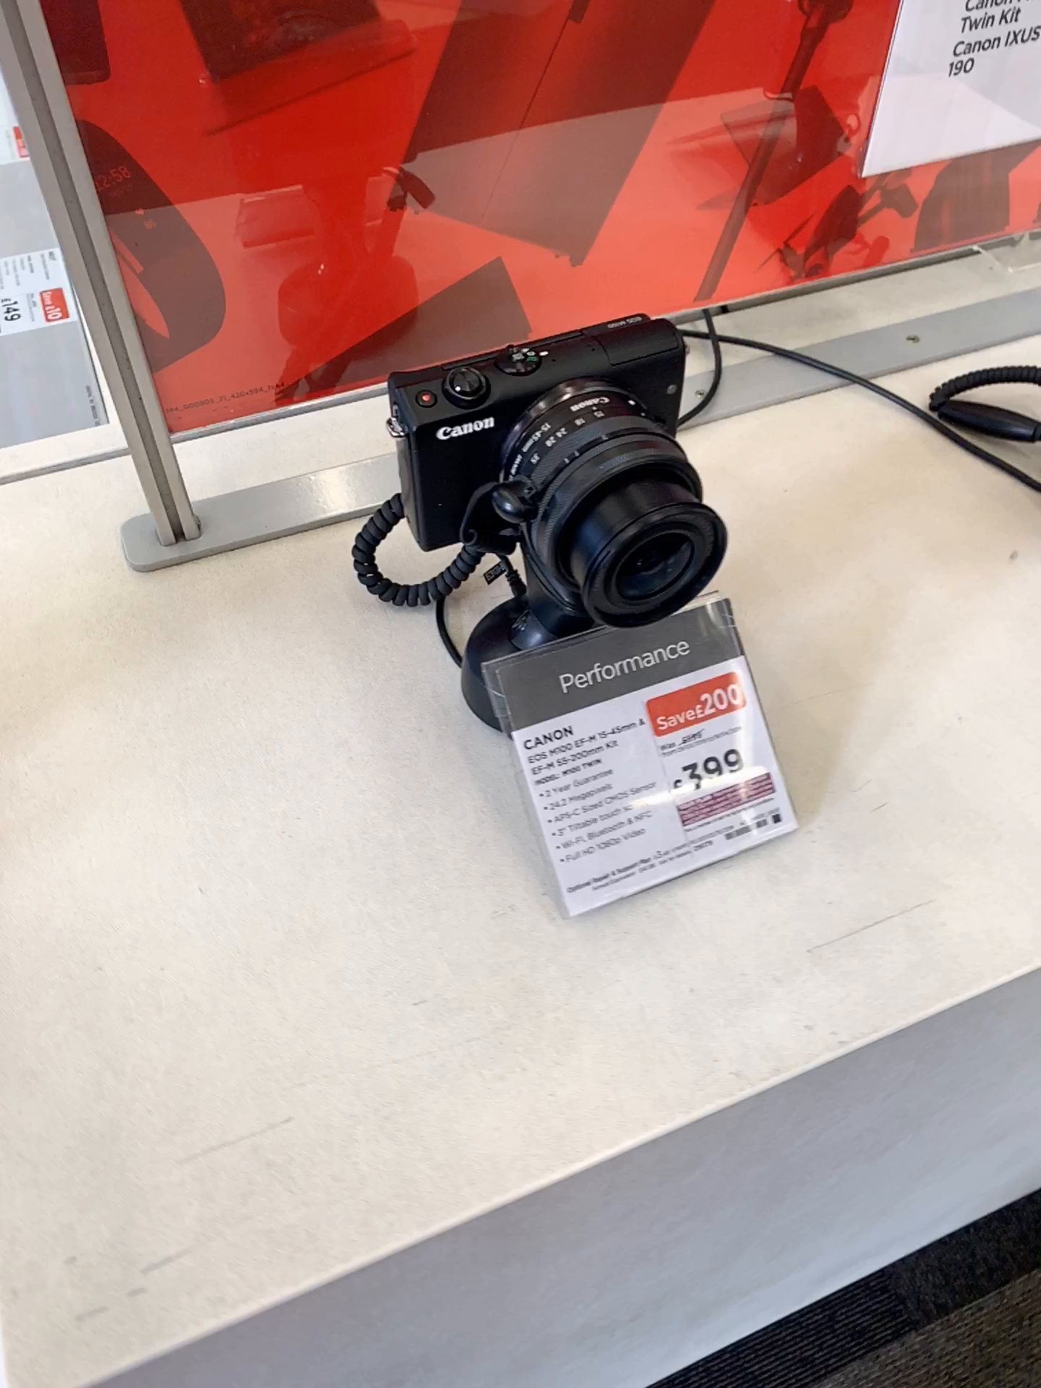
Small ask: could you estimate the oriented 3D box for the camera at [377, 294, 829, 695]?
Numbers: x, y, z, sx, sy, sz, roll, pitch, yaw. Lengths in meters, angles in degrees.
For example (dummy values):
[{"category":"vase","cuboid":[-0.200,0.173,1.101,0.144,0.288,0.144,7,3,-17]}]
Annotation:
[{"category":"camera","cuboid":[0.025,-0.076,0.389,0.120,0.069,0.101,-20,52,-16]}]
